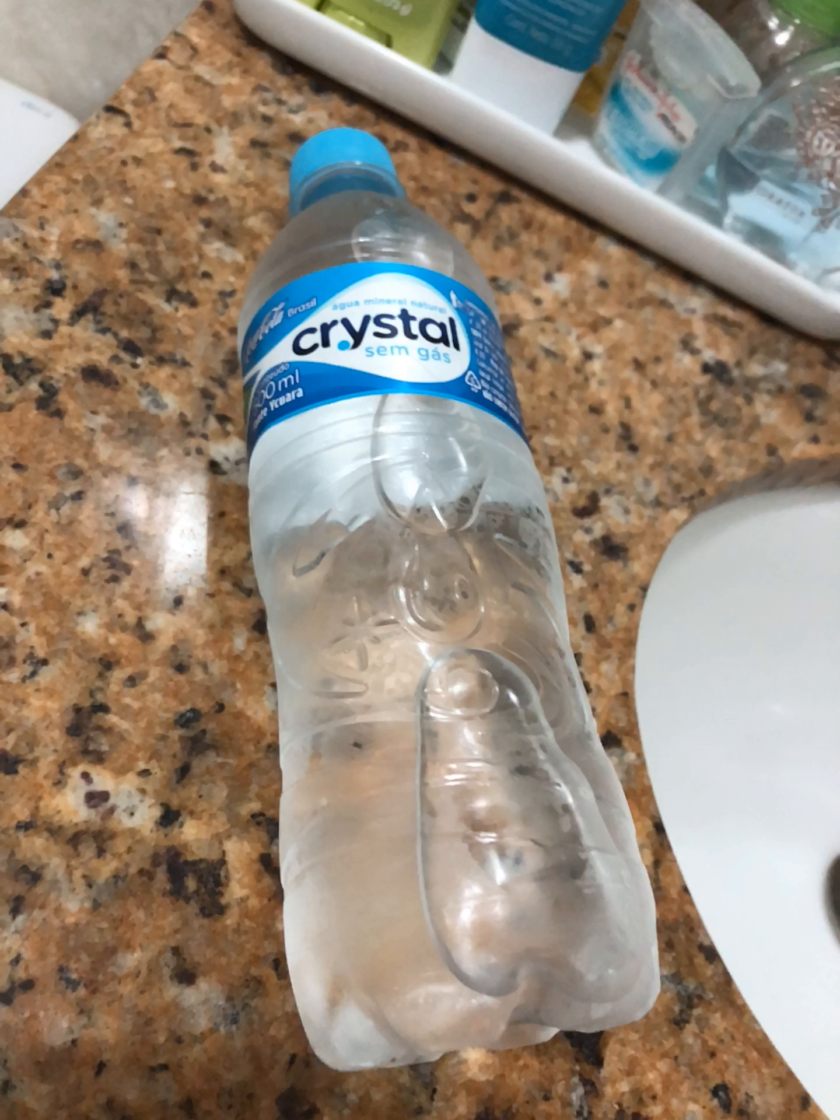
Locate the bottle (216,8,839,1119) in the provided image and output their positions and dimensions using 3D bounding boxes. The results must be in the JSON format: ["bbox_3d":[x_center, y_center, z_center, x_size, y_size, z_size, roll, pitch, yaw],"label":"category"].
[{"bbox_3d":[0.002,-0.019,0.200,0.070,0.050,0.231,2,58,-21],"label":"bottle"}]
